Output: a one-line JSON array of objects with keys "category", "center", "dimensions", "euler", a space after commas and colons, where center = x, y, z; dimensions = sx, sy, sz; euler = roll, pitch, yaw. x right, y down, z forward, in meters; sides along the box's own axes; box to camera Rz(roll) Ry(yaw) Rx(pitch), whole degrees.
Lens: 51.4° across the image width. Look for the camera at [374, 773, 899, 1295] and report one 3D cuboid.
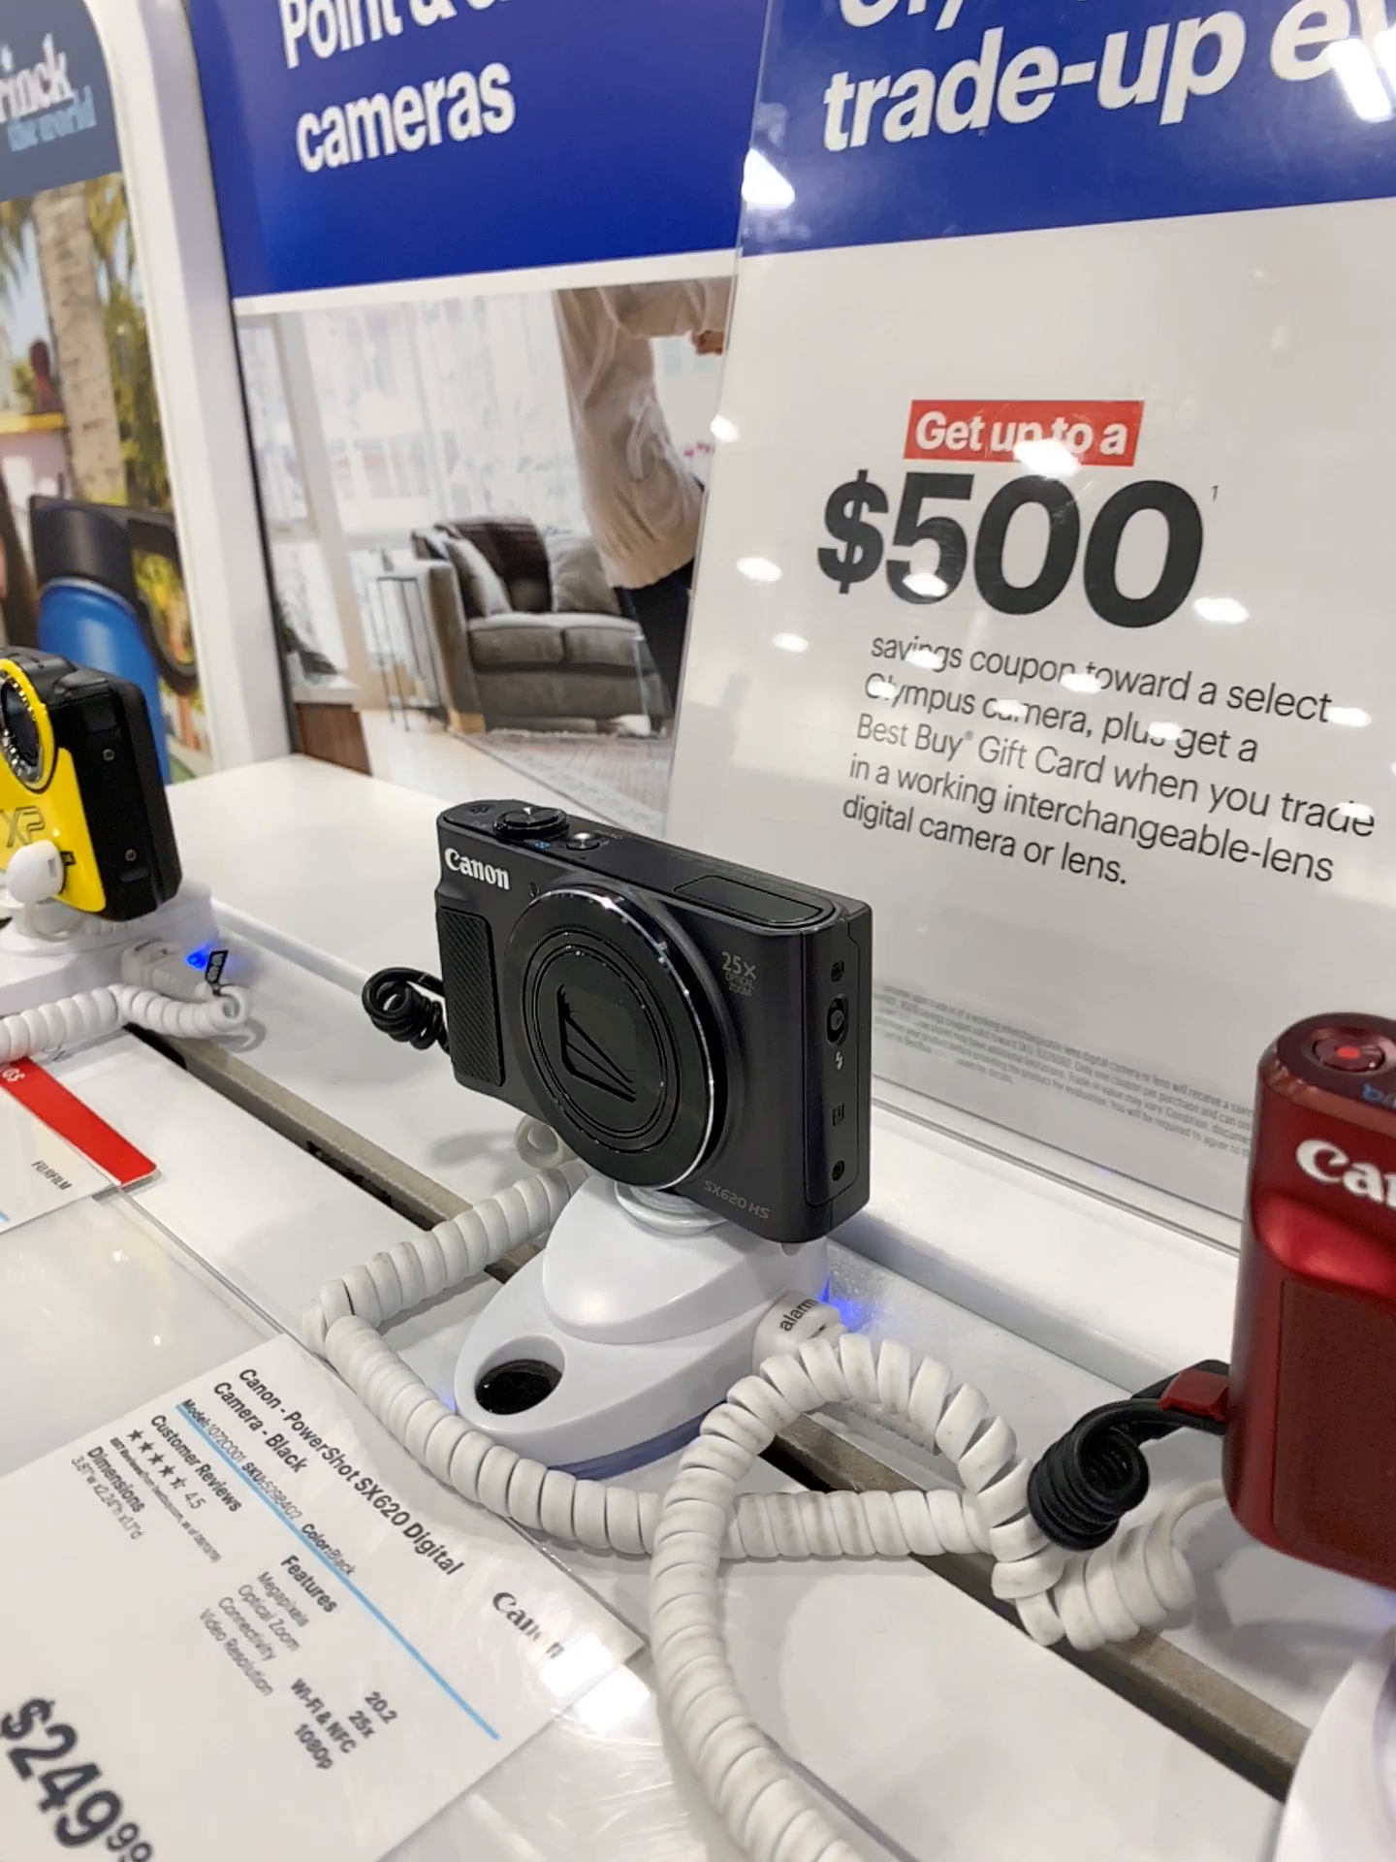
[{"category": "camera", "center": [-0.014, 0.012, 0.257], "dimensions": [0.030, 0.060, 0.100], "euler": [-21, 28, -40]}]
